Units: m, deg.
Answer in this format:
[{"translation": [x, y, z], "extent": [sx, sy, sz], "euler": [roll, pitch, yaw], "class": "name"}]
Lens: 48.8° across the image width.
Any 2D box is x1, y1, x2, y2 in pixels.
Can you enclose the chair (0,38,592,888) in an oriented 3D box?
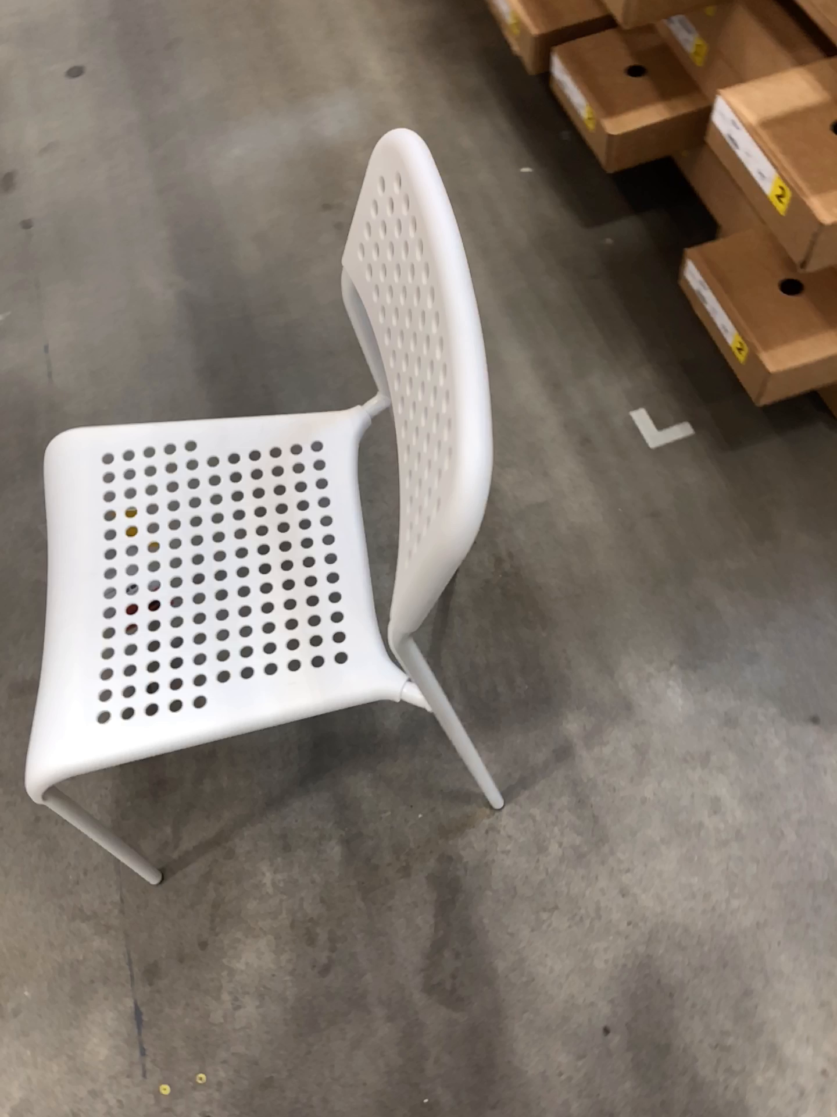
[{"translation": [-0.160, 0.001, 0.911], "extent": [0.510, 0.699, 0.461], "euler": [-8, 62, 1], "class": "chair"}]
